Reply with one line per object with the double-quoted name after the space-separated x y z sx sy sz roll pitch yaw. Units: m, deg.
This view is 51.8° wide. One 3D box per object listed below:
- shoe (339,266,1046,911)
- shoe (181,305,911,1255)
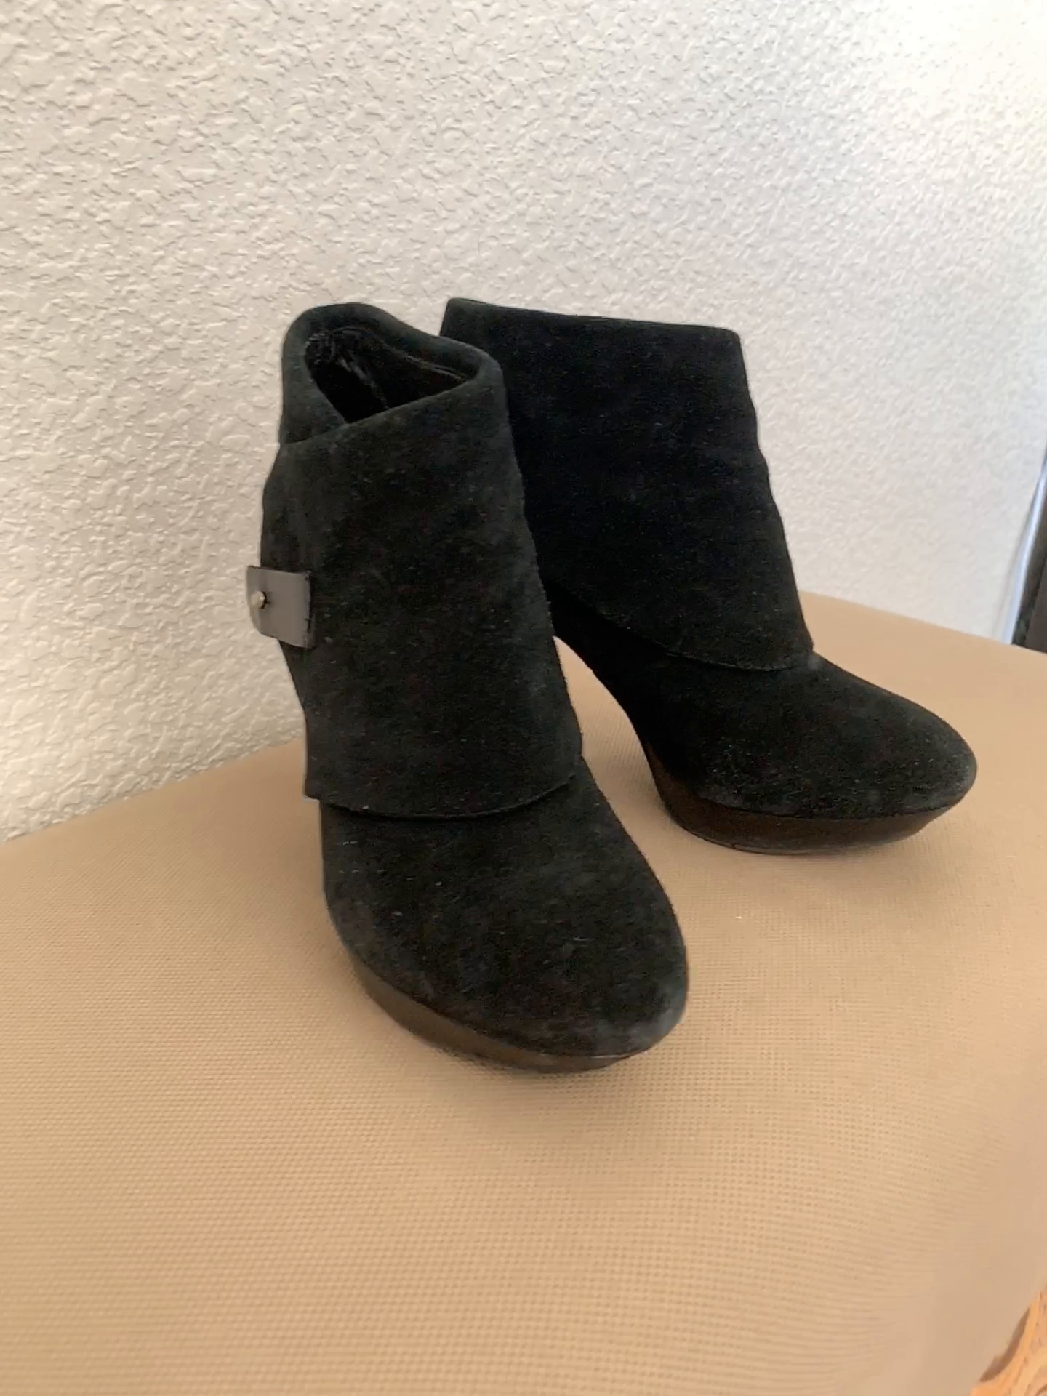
0.055 -0.052 0.377 0.218 0.166 0.090 15 29 25 "shoe"
-0.020 -0.007 0.301 0.090 0.166 0.218 -11 29 -24 "shoe"
